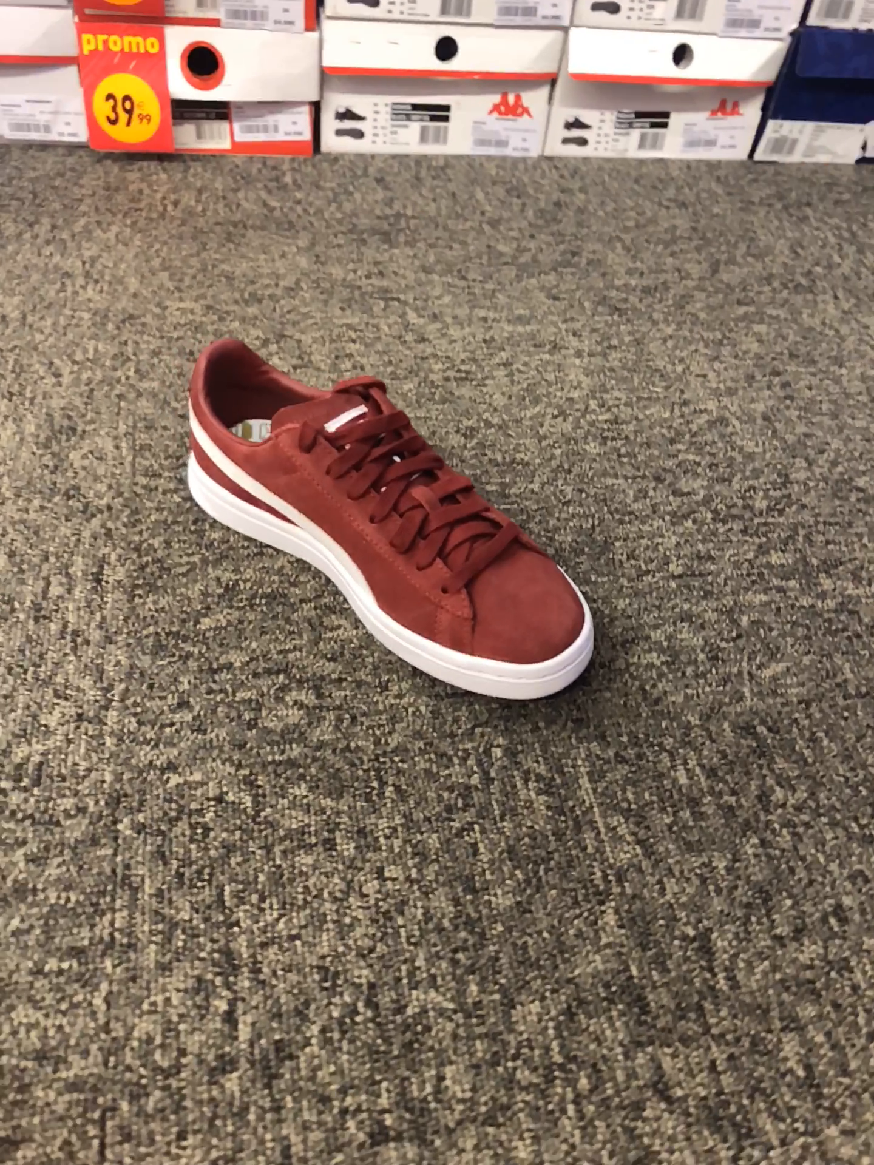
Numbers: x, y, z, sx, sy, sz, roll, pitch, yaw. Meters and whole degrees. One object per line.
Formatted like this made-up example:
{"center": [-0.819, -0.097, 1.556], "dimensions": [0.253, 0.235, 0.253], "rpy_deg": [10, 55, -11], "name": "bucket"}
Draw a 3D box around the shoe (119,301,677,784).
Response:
{"center": [-0.027, -0.031, 0.464], "dimensions": [0.250, 0.080, 0.101], "rpy_deg": [35, 52, 23], "name": "shoe"}
